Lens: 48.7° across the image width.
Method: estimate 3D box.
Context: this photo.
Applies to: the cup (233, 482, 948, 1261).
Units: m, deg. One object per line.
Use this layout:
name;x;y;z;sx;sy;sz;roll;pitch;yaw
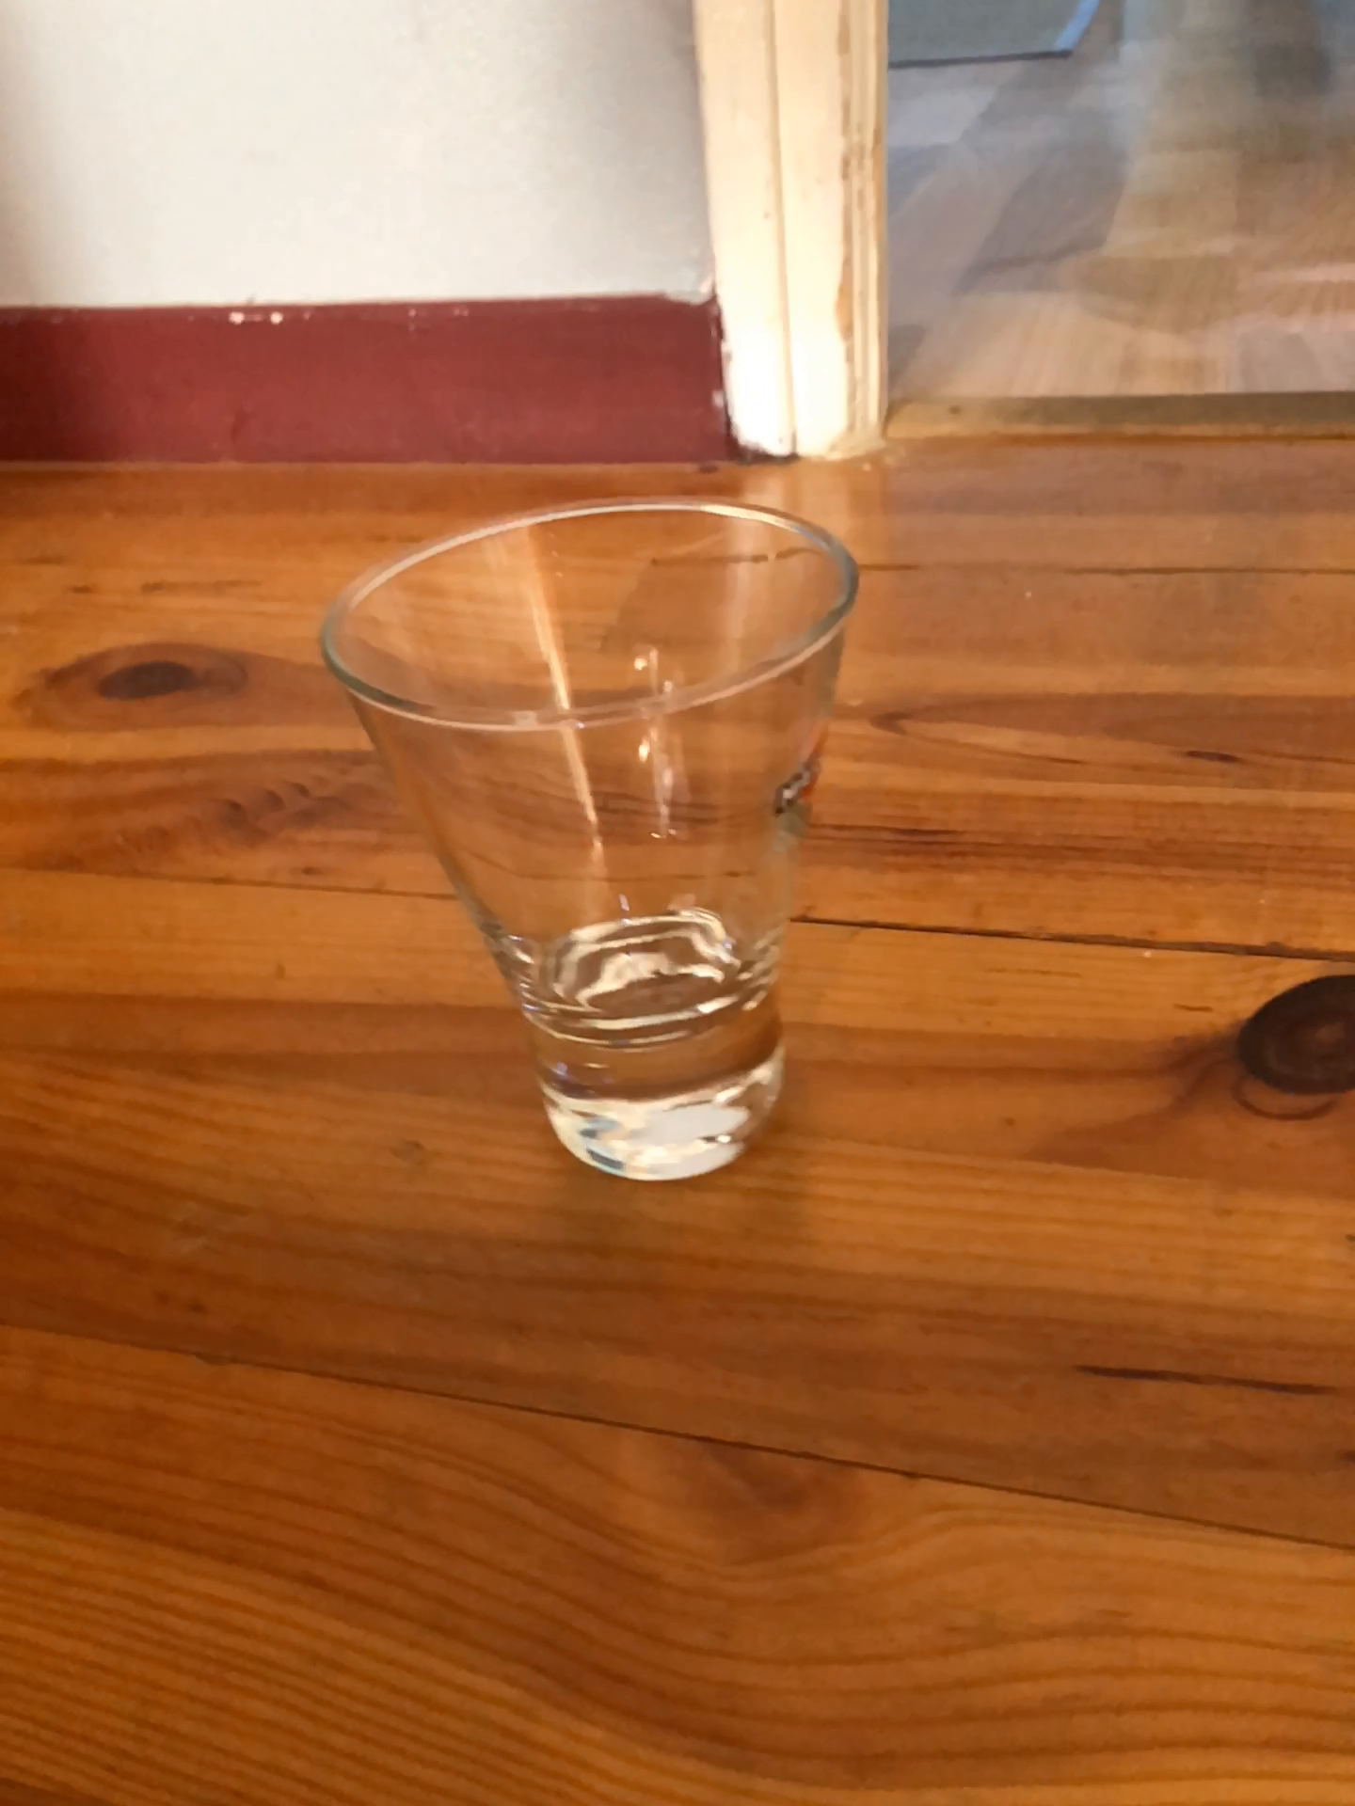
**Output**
cup;-0.007;-0.012;0.276;0.088;0.097;0.092;-3;34;2
